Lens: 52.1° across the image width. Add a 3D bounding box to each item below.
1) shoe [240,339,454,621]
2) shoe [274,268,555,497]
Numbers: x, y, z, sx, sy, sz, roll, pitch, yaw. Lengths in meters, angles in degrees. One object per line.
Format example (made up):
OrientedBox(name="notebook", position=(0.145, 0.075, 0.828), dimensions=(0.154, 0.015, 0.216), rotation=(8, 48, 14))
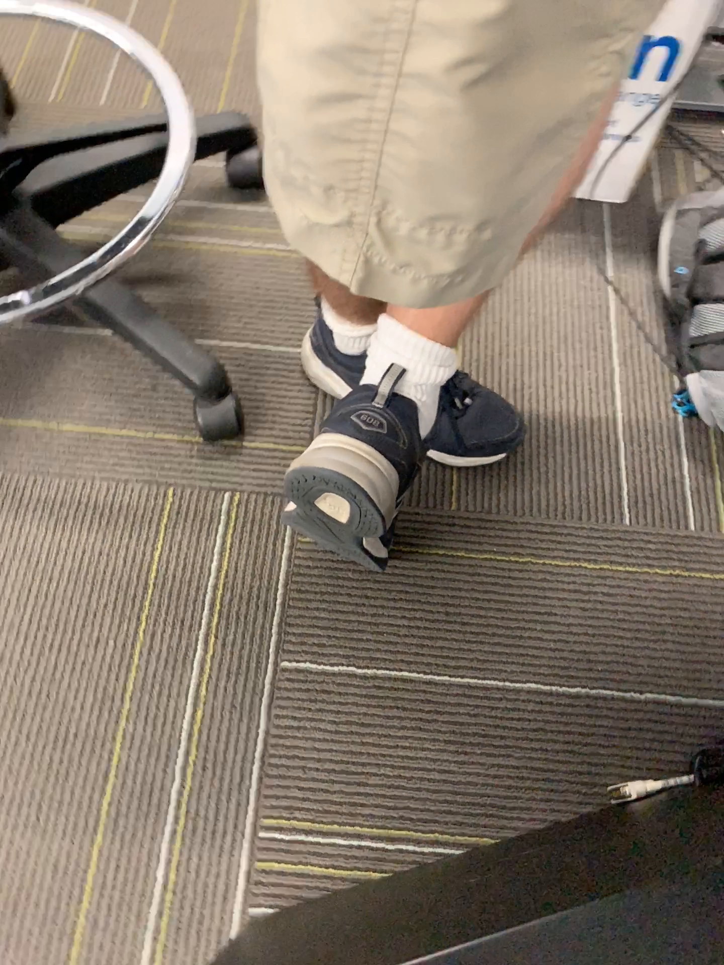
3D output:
OrientedBox(name="shoe", position=(-0.011, 0.017, 0.714), dimensions=(0.122, 0.293, 0.129), rotation=(25, 69, 10))
OrientedBox(name="shoe", position=(0.056, -0.120, 0.867), dimensions=(0.297, 0.077, 0.120), rotation=(31, 68, 11))
